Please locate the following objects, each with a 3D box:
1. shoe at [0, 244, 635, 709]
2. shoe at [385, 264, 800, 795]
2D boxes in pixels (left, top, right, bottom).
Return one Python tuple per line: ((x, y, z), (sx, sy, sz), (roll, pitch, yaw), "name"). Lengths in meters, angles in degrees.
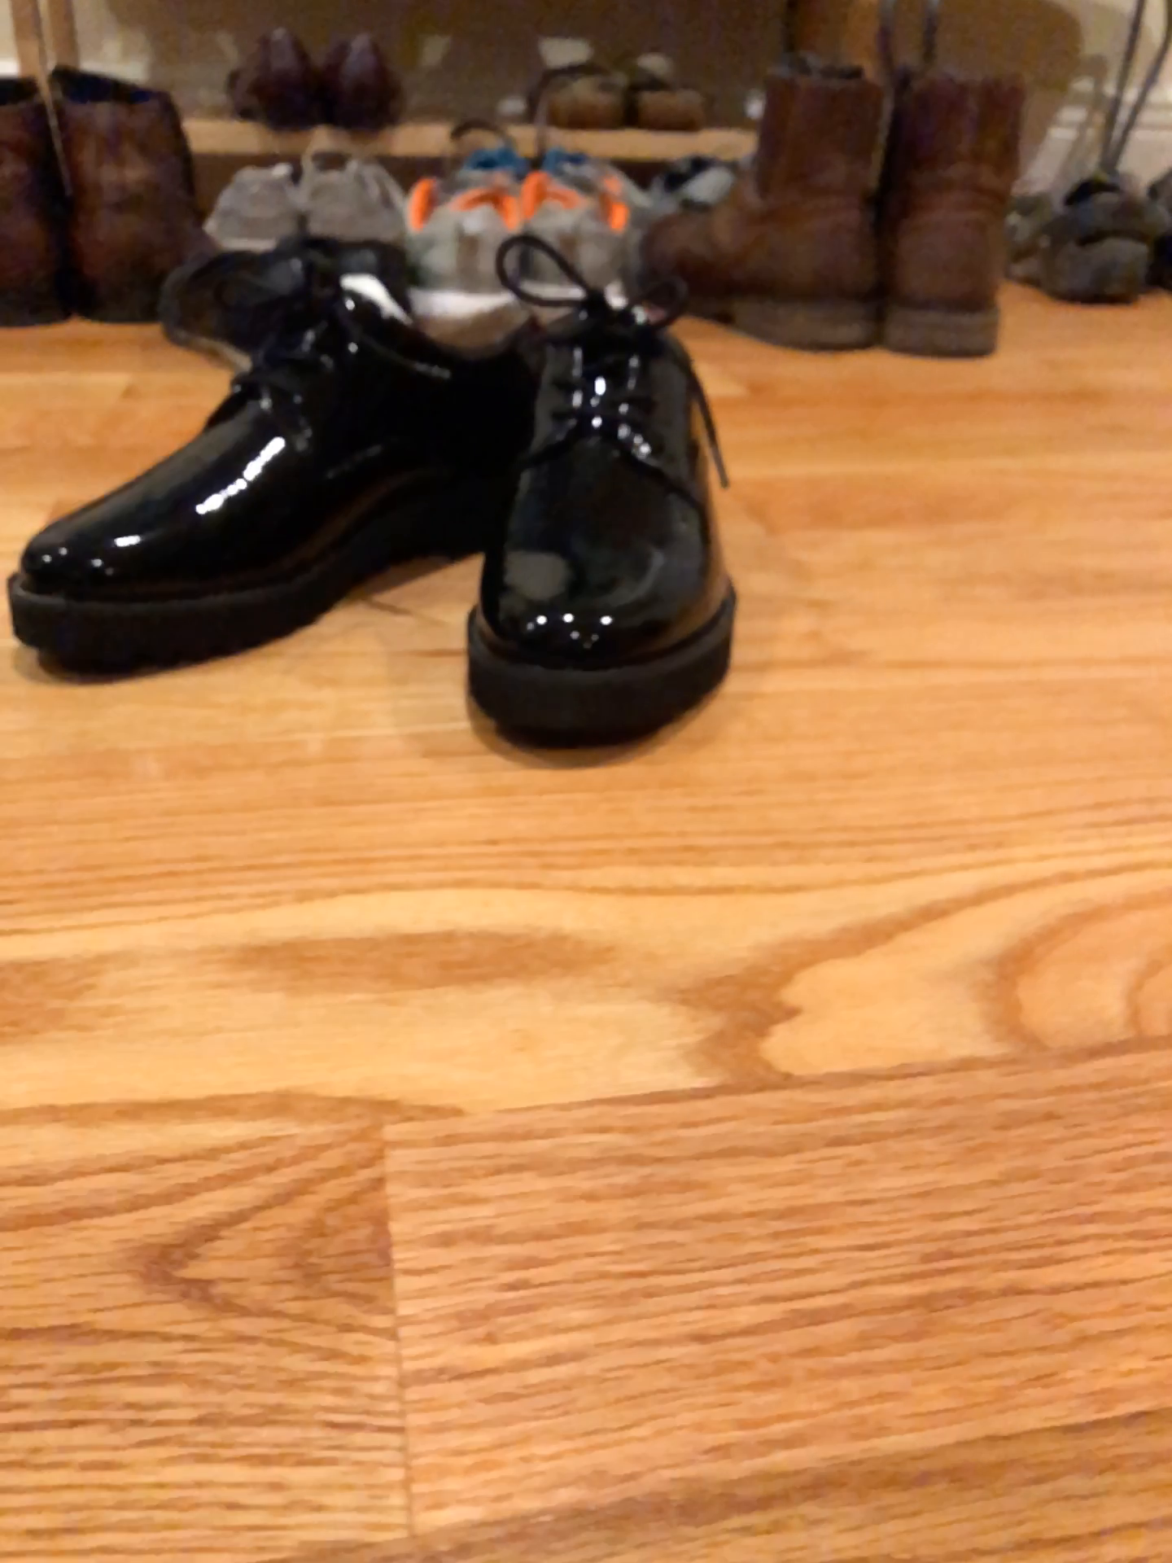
((-0.101, -0.128, 0.483), (0.095, 0.101, 0.252), (25, 37, 35), "shoe")
((0.017, -0.107, 0.460), (0.095, 0.101, 0.252), (7, 30, 8), "shoe")
